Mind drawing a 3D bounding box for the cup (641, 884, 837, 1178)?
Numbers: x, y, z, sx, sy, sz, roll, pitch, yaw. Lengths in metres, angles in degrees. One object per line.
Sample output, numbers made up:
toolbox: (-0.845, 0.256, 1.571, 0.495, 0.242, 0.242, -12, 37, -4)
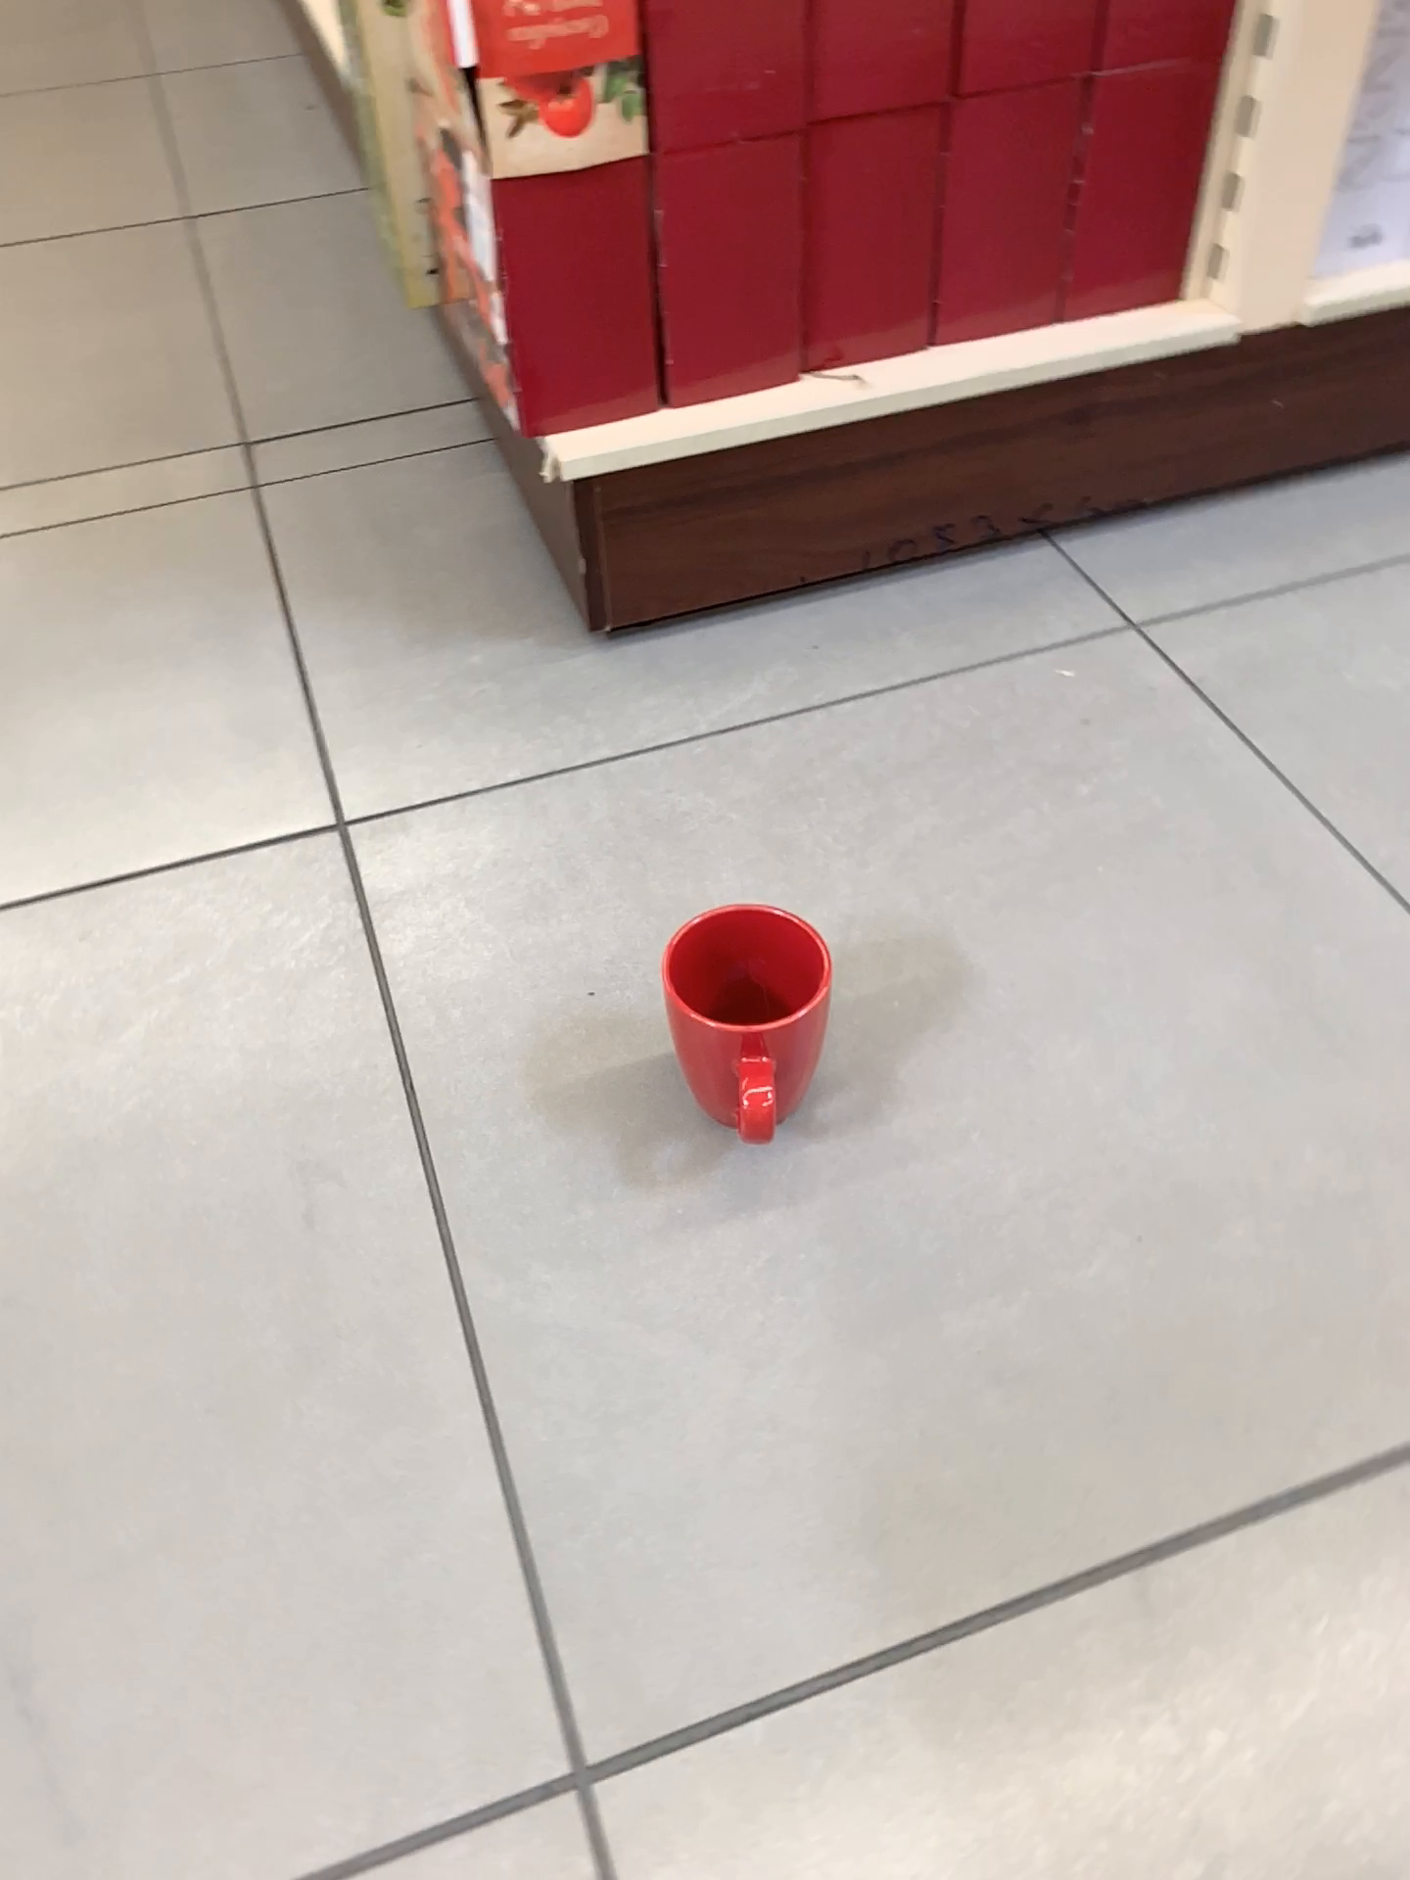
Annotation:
cup: (0.019, 0.046, 0.733, 0.090, 0.090, 0.121, 0, 46, 3)
